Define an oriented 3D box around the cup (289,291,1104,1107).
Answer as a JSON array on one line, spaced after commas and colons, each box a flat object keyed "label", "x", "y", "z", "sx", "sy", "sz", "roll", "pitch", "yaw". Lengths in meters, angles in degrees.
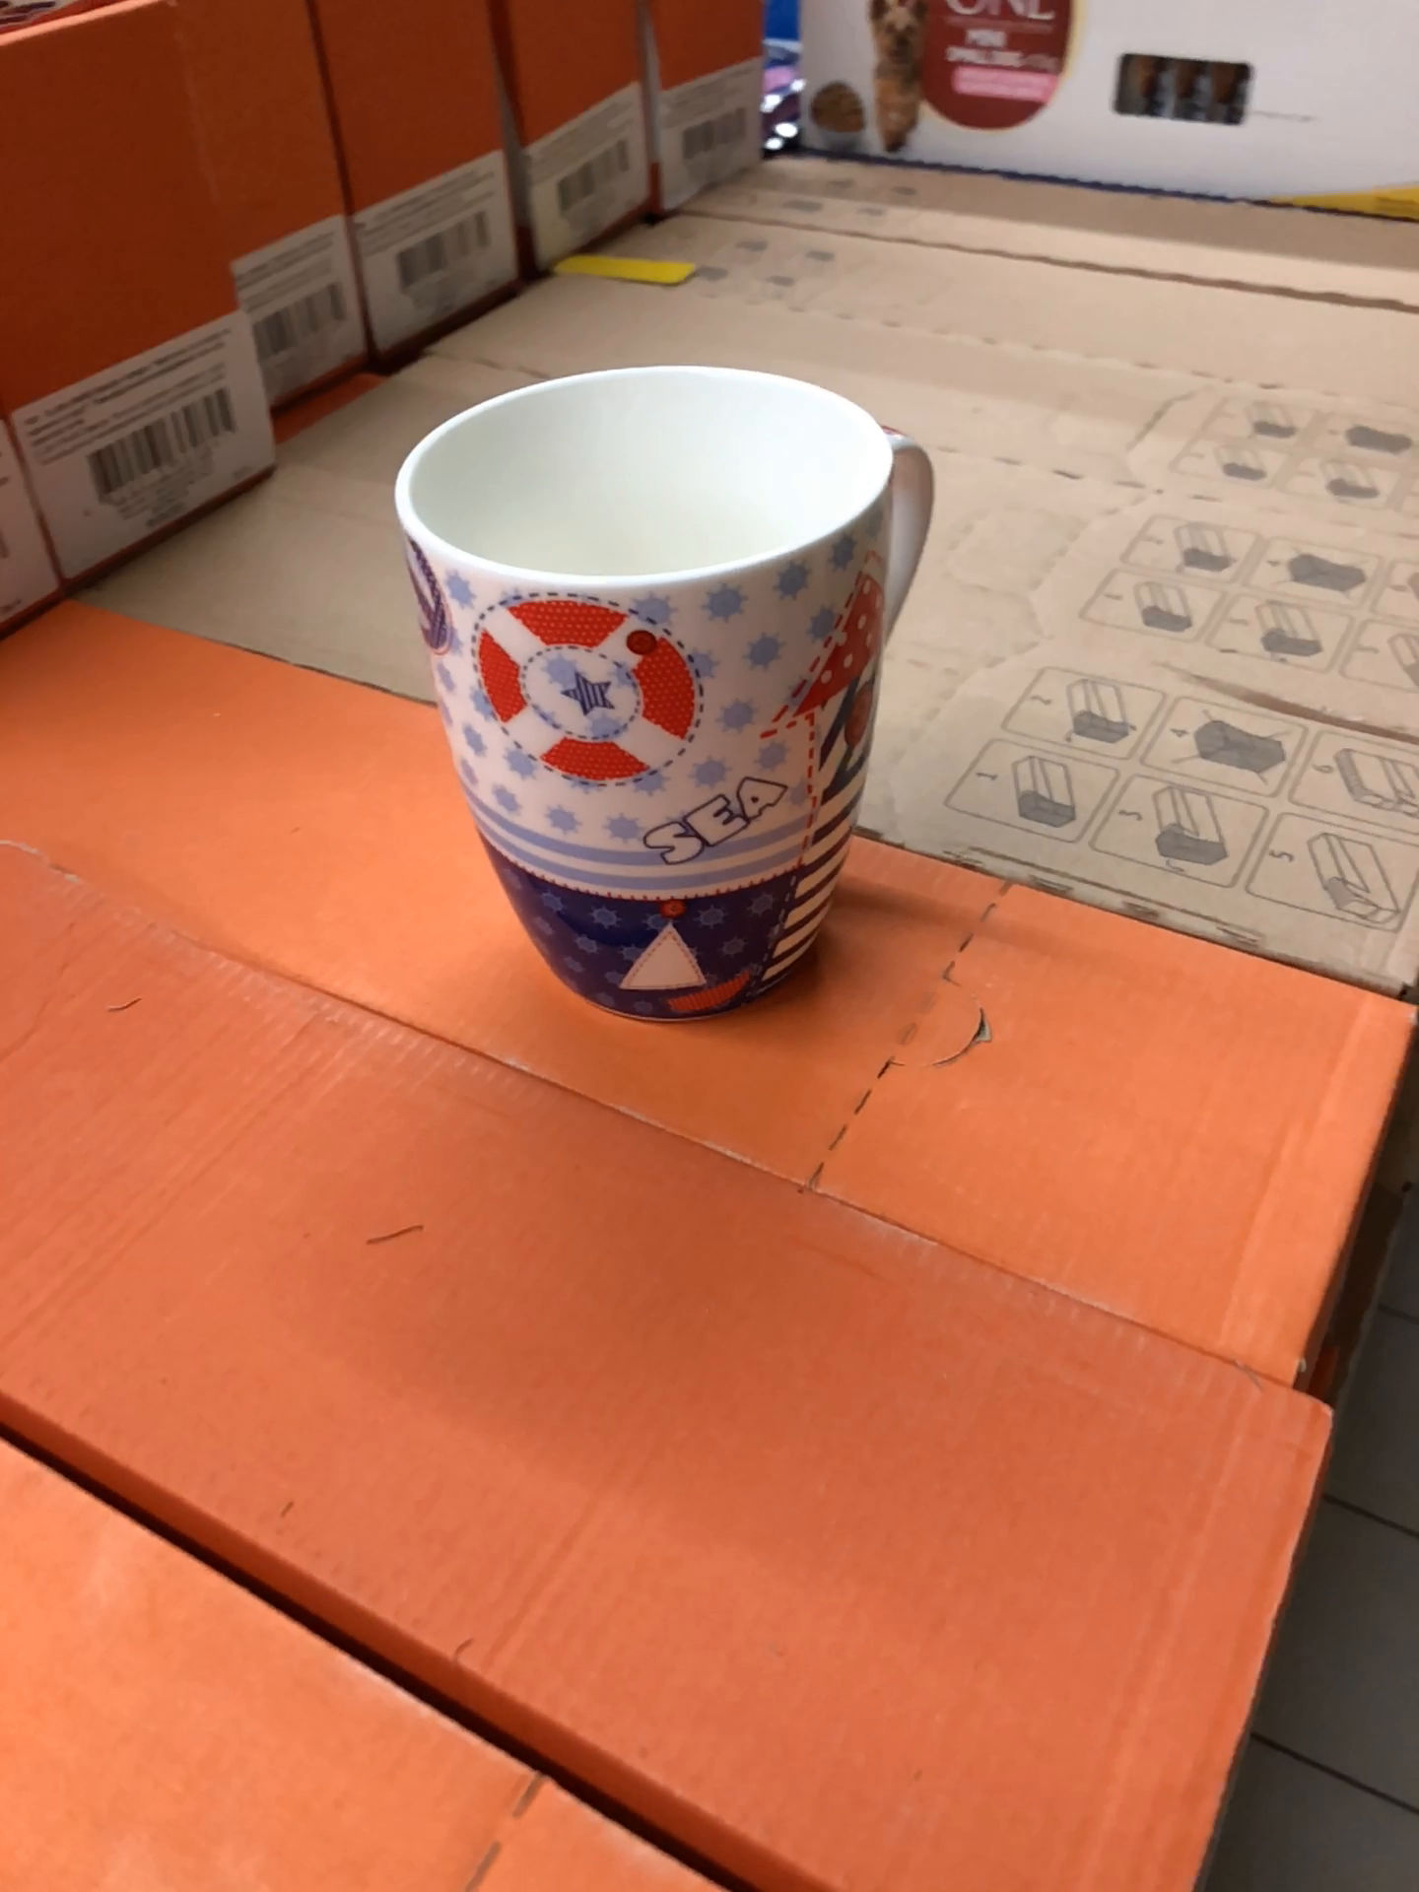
[{"label": "cup", "x": 0.002, "y": -0.053, "z": 0.295, "sx": 0.086, "sy": 0.092, "sz": 0.113, "roll": 28, "pitch": 48, "yaw": 31}]
